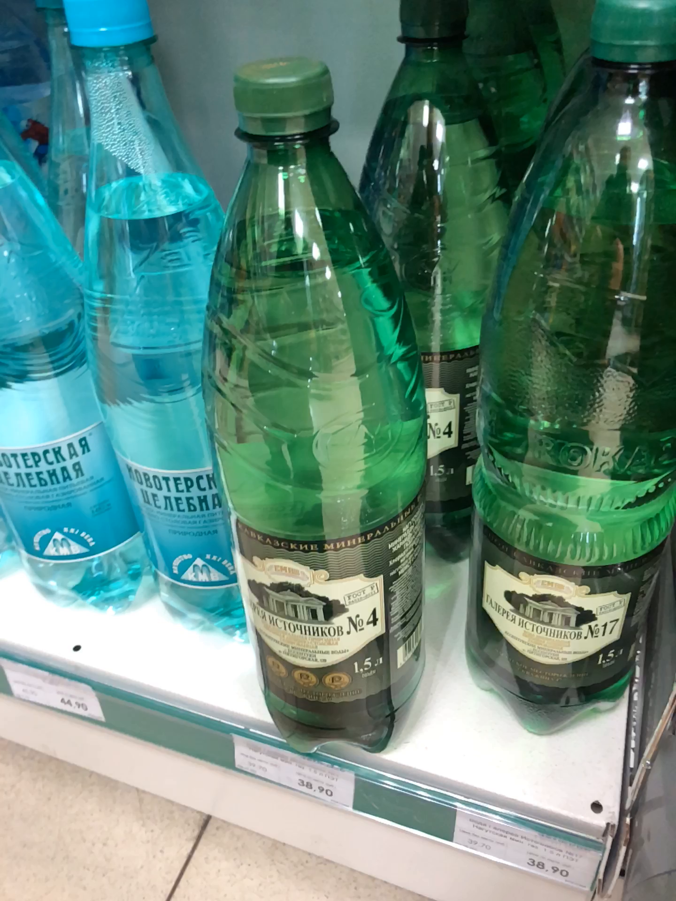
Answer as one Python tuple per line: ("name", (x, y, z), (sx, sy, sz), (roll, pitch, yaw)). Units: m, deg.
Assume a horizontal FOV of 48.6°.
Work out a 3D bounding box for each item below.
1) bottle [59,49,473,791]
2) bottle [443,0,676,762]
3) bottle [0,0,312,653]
("bottle", (-0.009, 0.013, 0.316), (0.091, 0.308, 0.089), (-2, 40, 2))
("bottle", (0.105, -0.003, 0.313), (0.091, 0.326, 0.083), (11, 42, 17))
("bottle", (-0.077, -0.039, 0.371), (0.084, 0.326, 0.077), (-2, 40, 2))
